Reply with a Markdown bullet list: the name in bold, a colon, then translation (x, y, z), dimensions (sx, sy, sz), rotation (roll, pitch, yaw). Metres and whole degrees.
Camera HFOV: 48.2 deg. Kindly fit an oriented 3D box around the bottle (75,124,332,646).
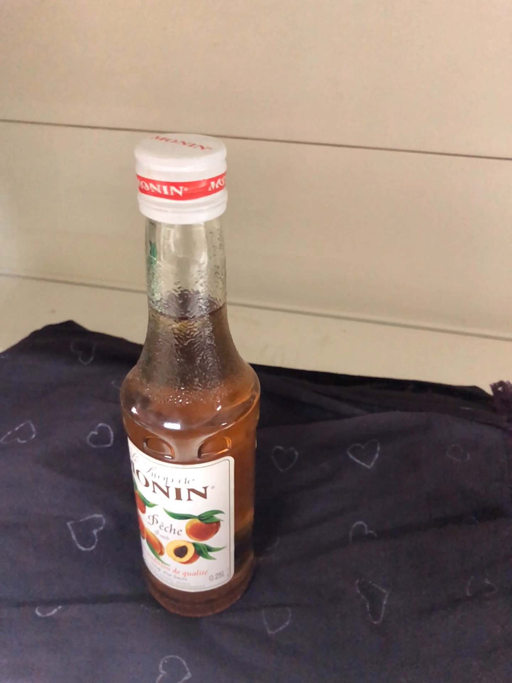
- **bottle**: translation (-0.018, 0.027, 0.242), dimensions (0.060, 0.209, 0.060), rotation (1, 31, -1)
